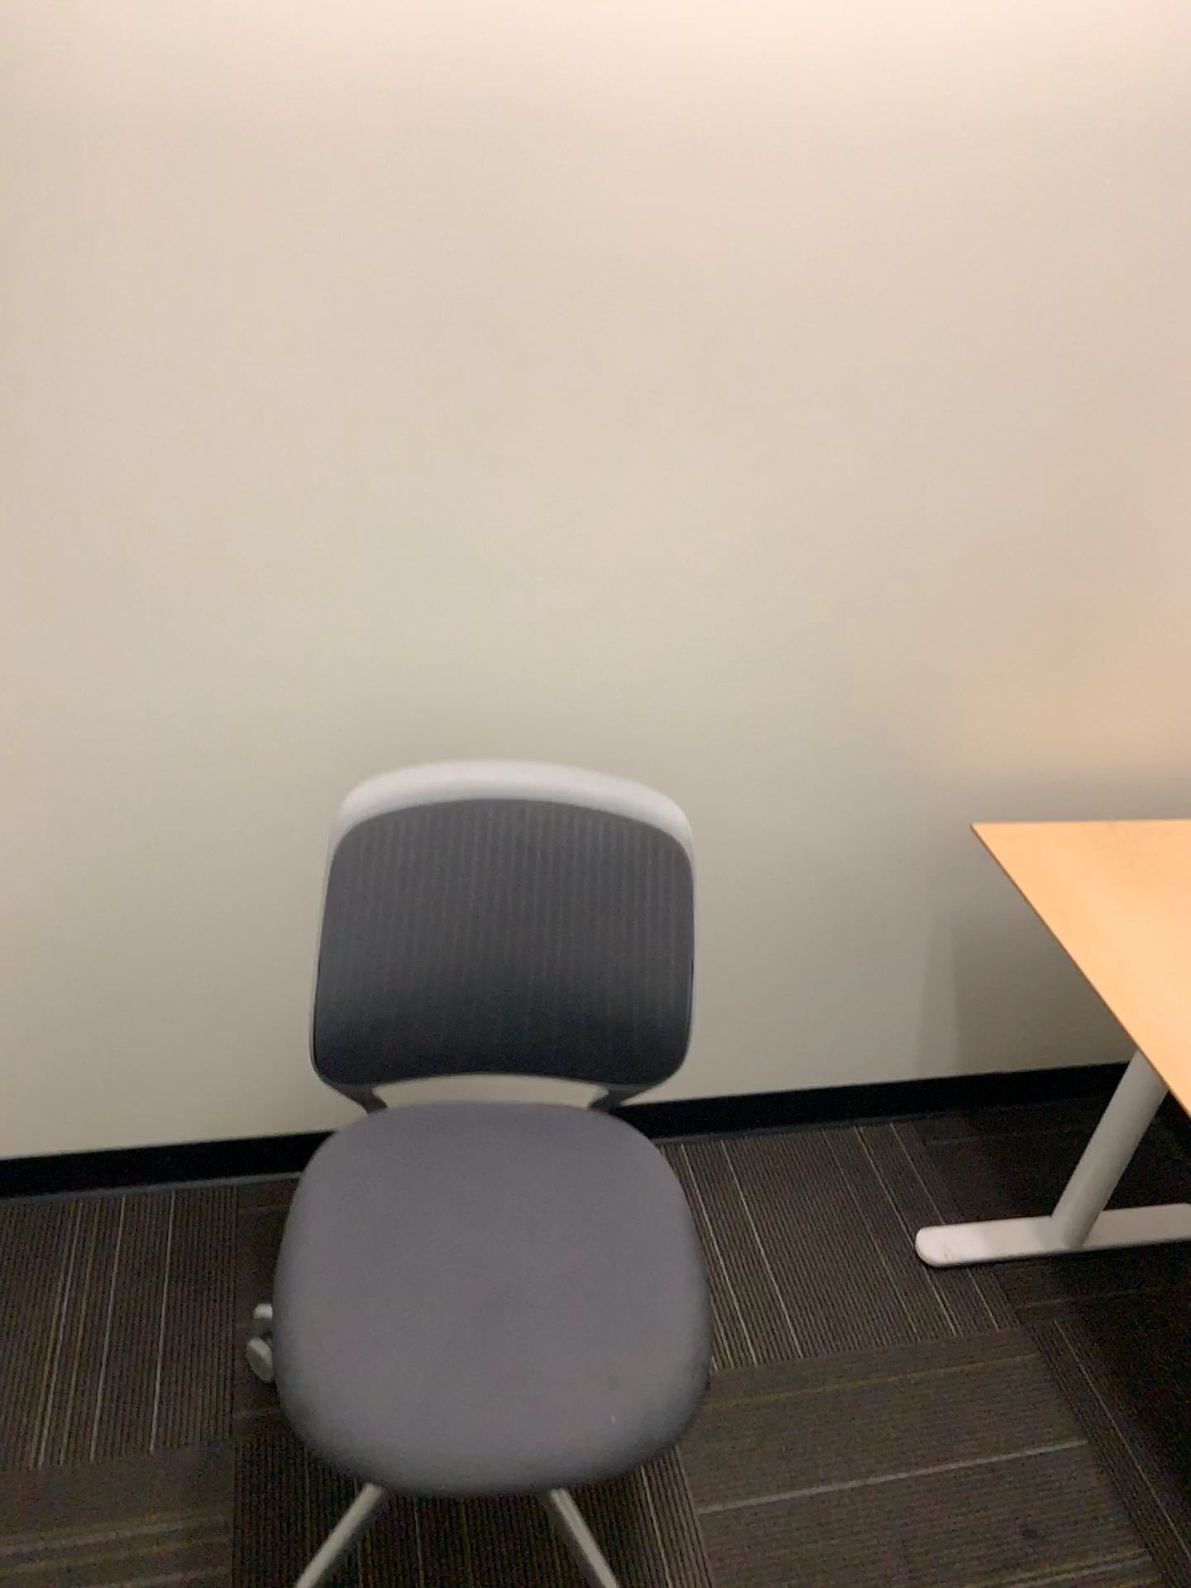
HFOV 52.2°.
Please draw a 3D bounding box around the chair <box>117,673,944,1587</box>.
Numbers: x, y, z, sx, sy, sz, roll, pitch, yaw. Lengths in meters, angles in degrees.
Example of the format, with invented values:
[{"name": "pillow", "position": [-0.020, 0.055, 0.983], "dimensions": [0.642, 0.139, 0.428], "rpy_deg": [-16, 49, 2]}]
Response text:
[{"name": "chair", "position": [-0.120, 0.469, 1.671], "dimensions": [0.720, 0.885, 0.906], "rpy_deg": [4, 33, -6]}]
